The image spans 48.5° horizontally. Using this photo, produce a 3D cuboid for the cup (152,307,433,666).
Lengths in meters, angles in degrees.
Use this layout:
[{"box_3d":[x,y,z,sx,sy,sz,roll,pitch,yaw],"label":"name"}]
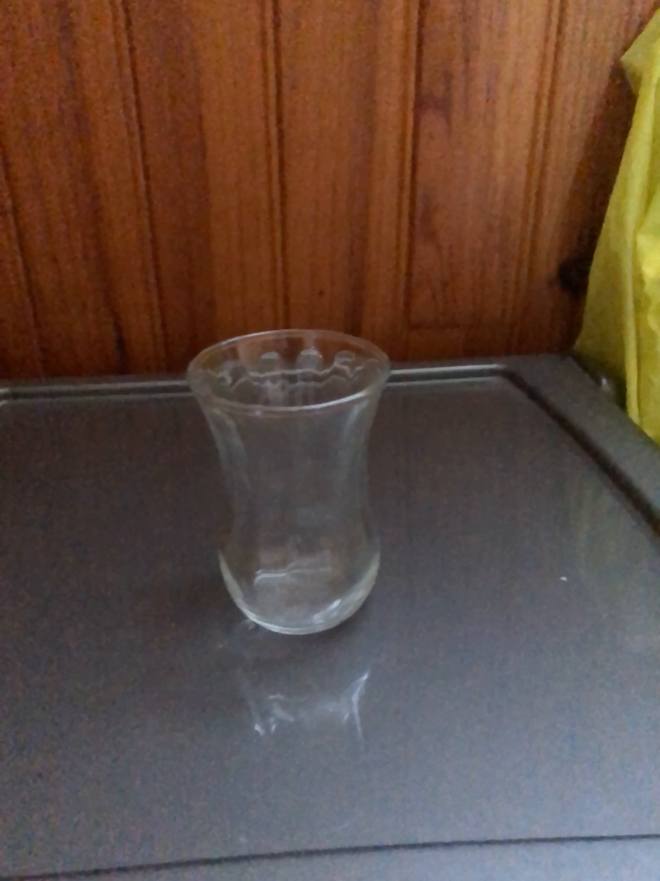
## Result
[{"box_3d":[-0.012,0.010,0.228,0.060,0.080,0.060,0,28,0],"label":"cup"}]
